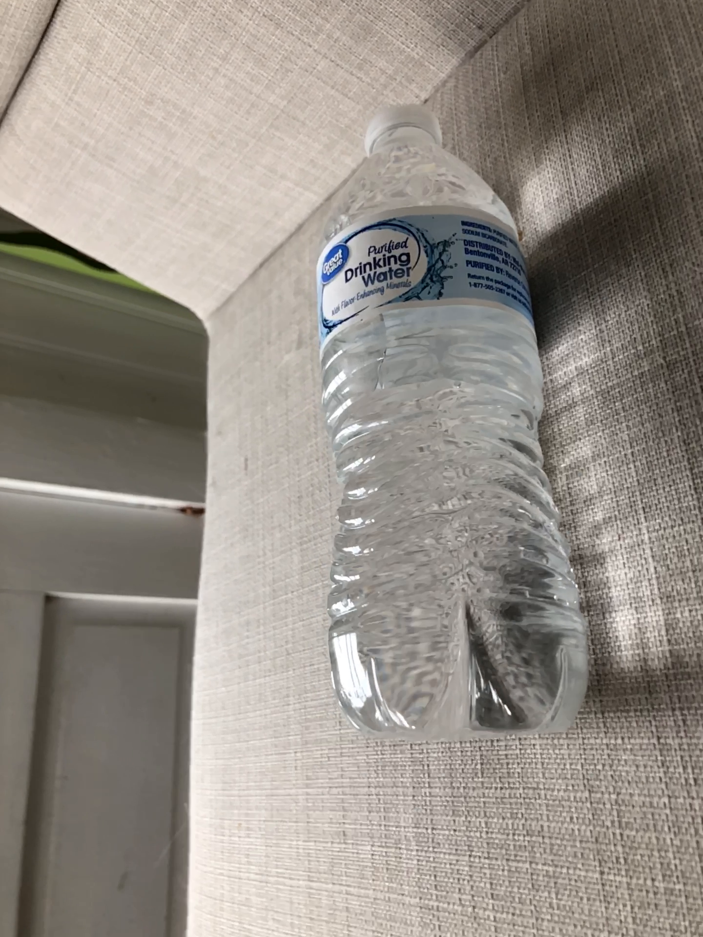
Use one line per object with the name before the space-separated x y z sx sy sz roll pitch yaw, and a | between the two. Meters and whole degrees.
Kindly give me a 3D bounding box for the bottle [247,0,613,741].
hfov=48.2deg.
bottle | 0.019 -0.042 0.242 0.070 0.080 0.231 -12 66 18
